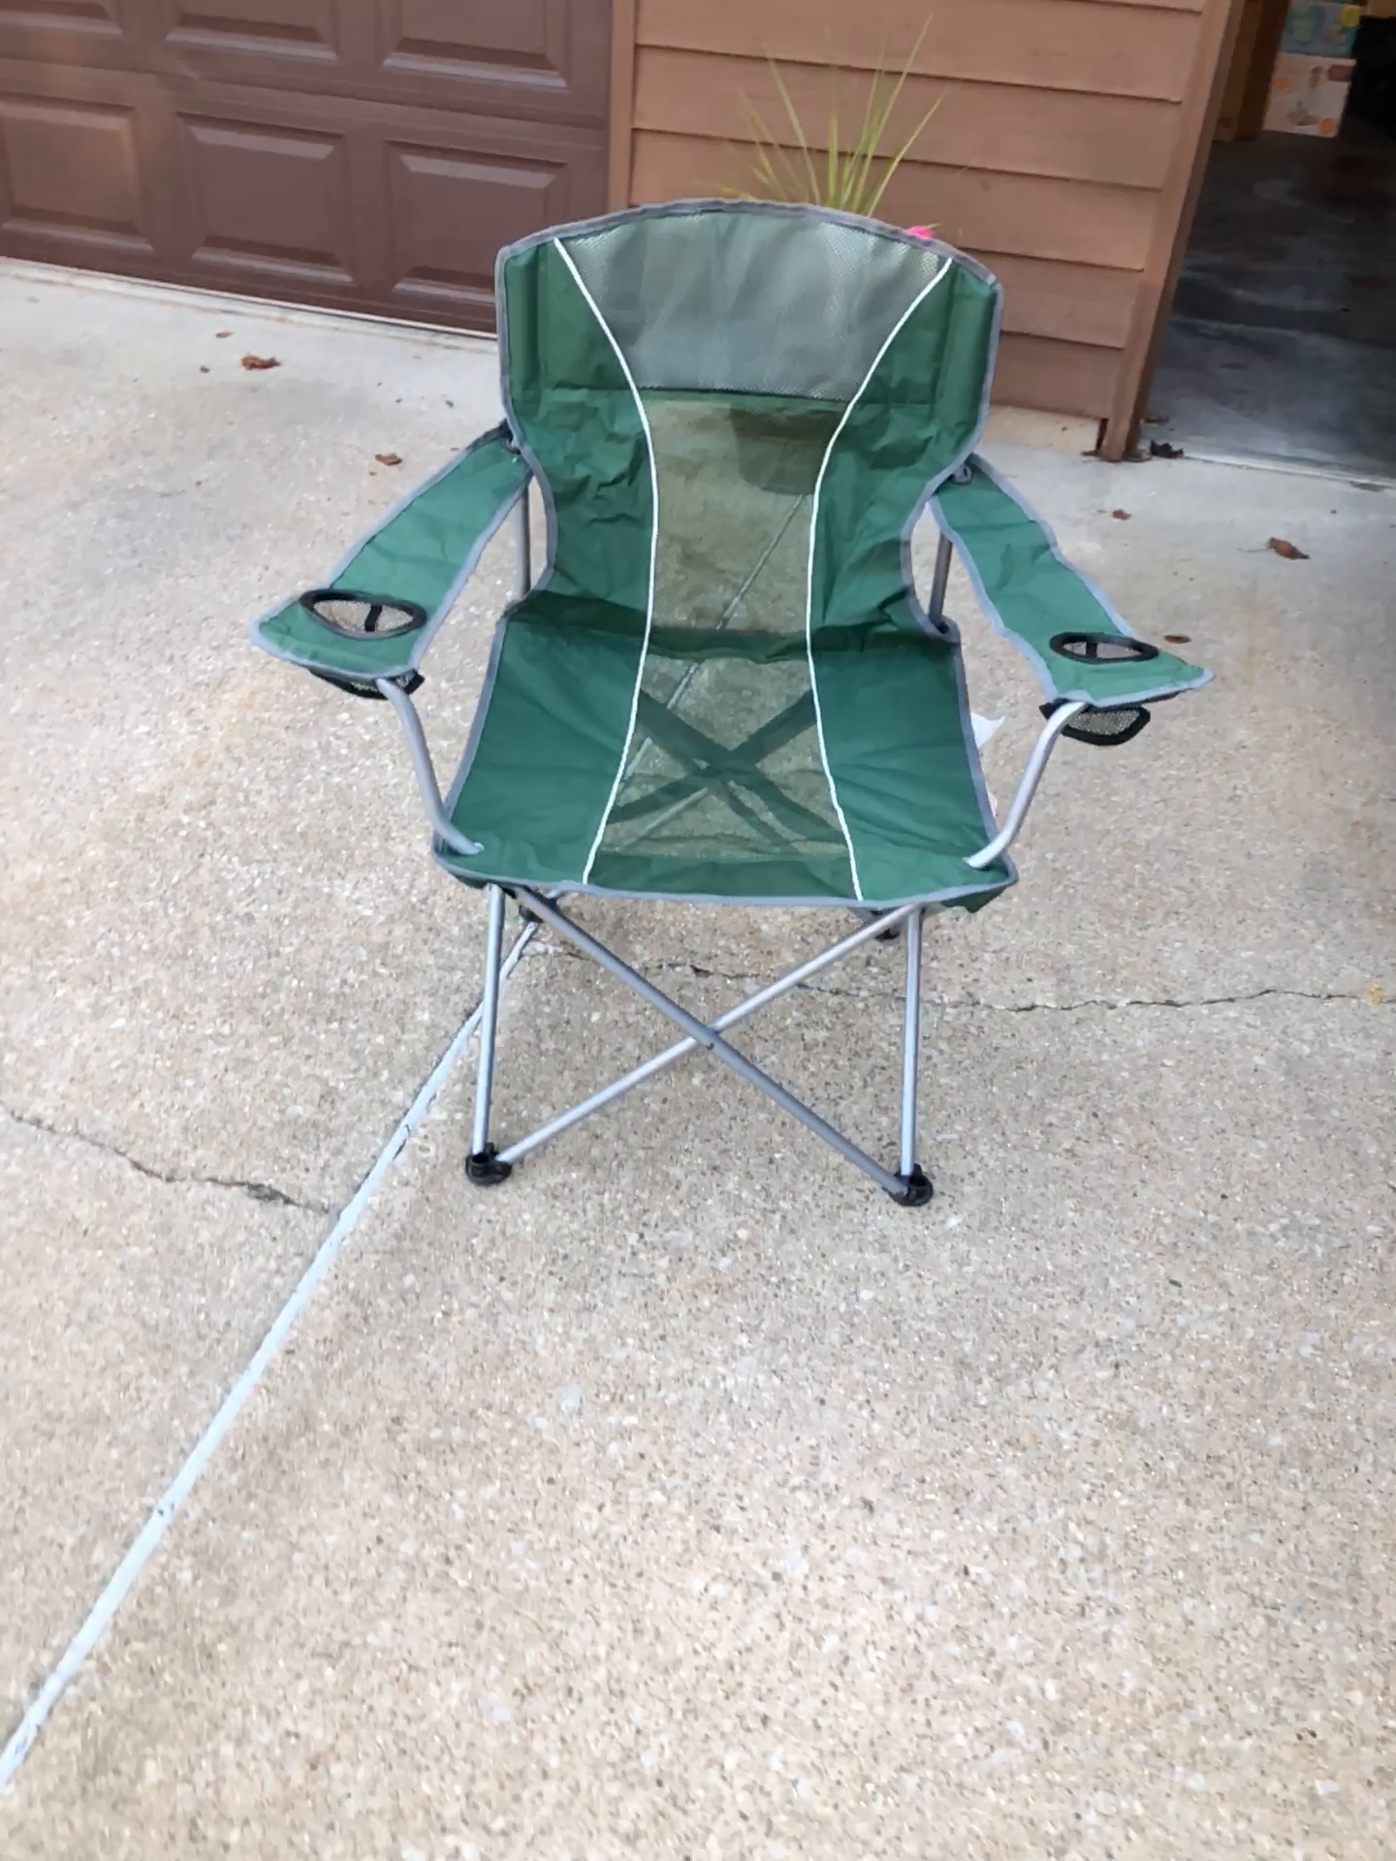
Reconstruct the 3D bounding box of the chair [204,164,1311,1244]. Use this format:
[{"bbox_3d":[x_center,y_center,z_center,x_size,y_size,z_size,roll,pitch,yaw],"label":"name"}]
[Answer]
[{"bbox_3d":[0.029,-0.242,1.658,0.820,0.908,0.642,4,36,0],"label":"chair"}]
